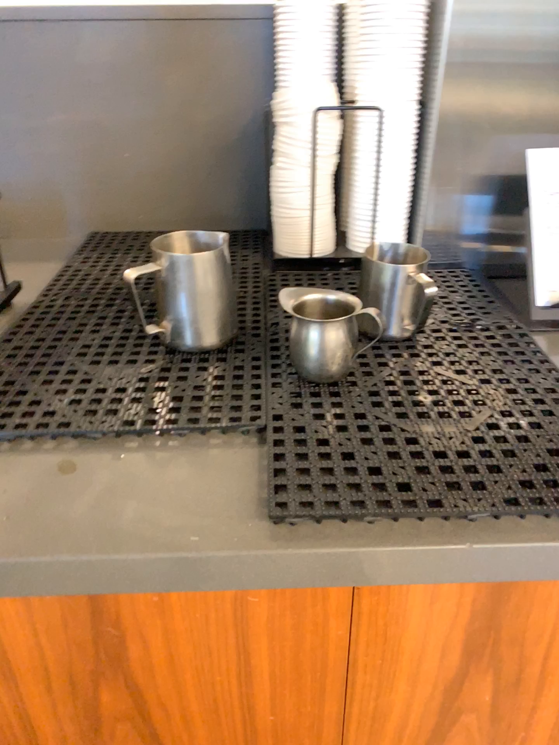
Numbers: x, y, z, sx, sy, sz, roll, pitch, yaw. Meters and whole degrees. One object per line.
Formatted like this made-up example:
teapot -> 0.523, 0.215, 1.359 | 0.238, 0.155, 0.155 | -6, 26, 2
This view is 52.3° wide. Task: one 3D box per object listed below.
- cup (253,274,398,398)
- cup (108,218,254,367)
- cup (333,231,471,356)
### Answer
cup -> 0.041, -0.038, 0.530 | 0.110, 0.070, 0.070 | 18, 35, 29
cup -> -0.096, -0.086, 0.586 | 0.120, 0.109, 0.070 | -26, 39, -37
cup -> 0.123, -0.089, 0.603 | 0.080, 0.079, 0.131 | -11, 32, -18
